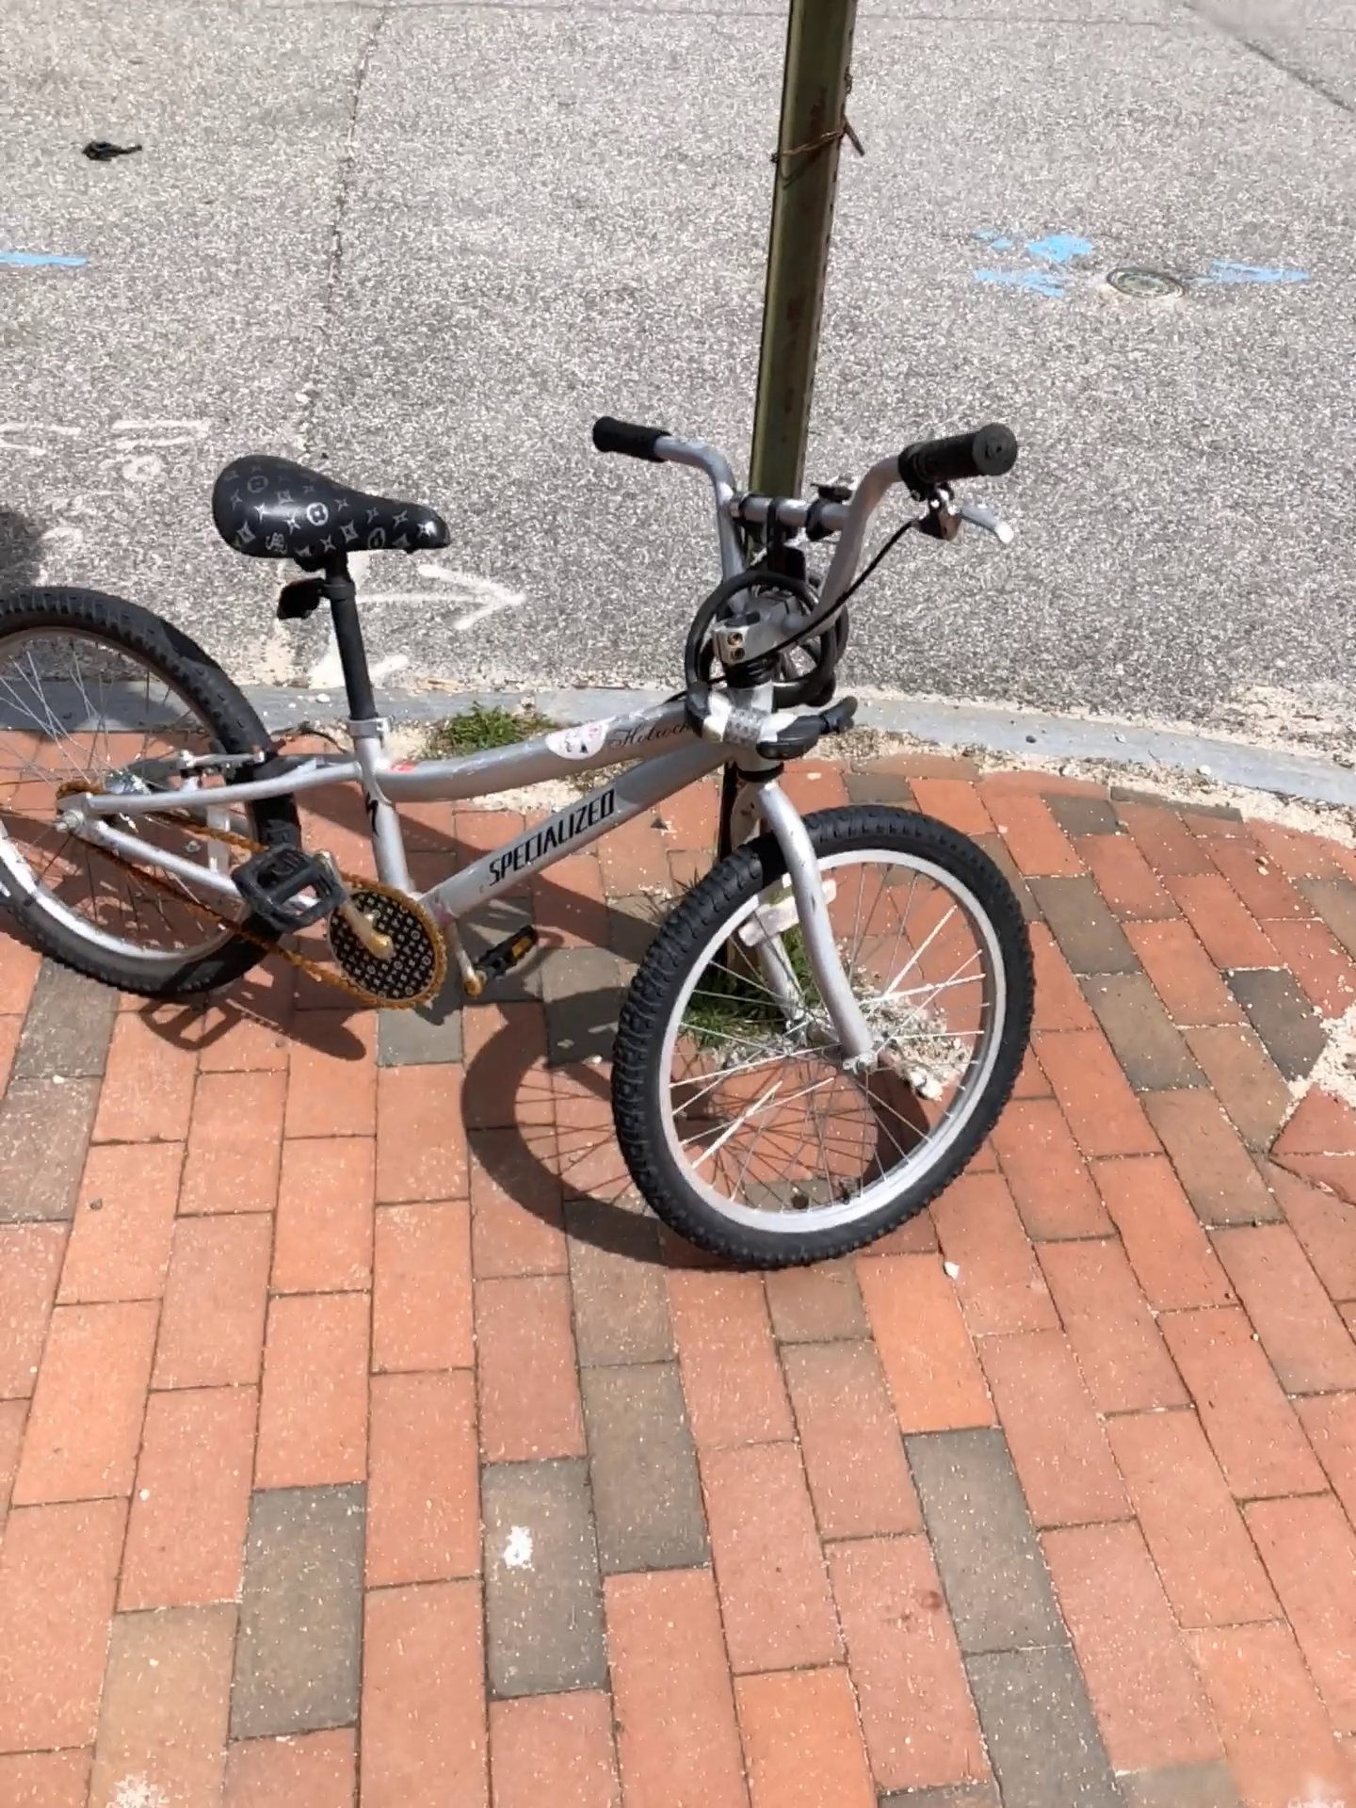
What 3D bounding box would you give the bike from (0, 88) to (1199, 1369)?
[{"bbox_3d":[-0.226,-0.214,1.479,1.208,0.831,0.720,12,40,8],"label":"bike"}]
